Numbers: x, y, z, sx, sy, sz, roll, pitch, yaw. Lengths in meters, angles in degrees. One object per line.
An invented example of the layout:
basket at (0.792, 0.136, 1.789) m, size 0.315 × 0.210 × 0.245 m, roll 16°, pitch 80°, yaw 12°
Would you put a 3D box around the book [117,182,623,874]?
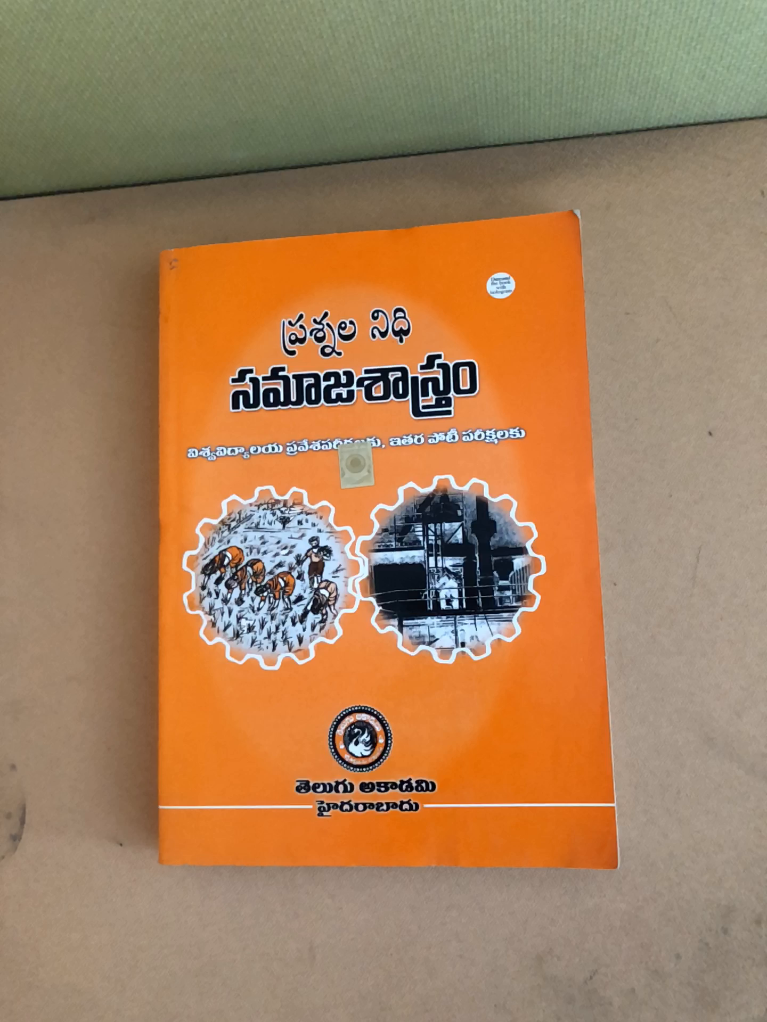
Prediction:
book at (-0.011, 0.007, 0.393) m, size 0.210 × 0.050 × 0.290 m, roll -3°, pitch 82°, yaw 8°
